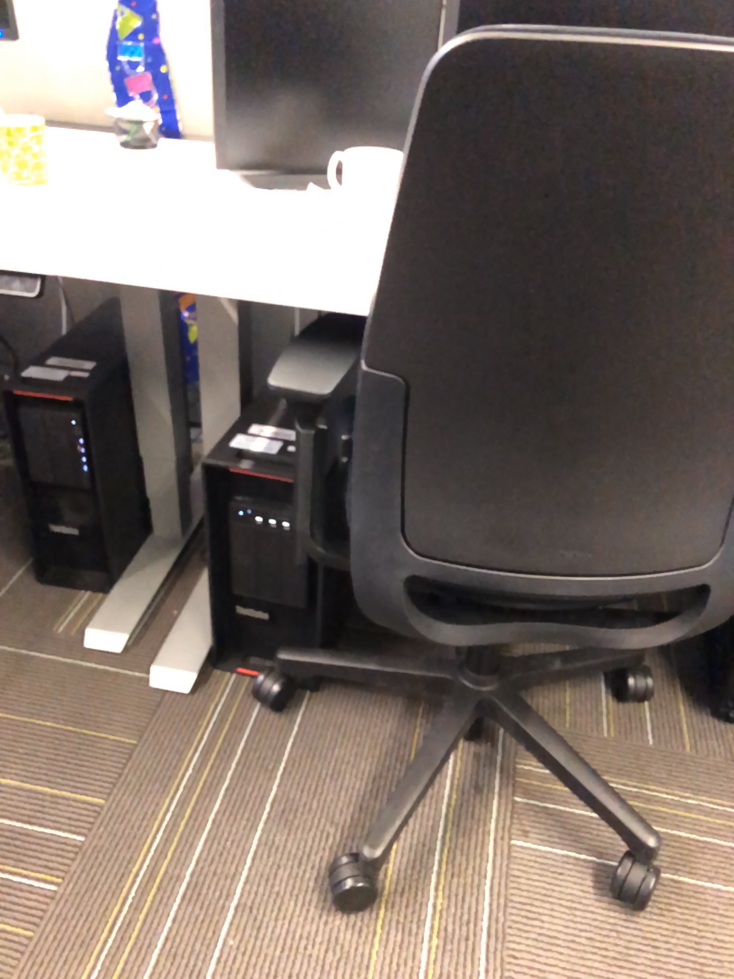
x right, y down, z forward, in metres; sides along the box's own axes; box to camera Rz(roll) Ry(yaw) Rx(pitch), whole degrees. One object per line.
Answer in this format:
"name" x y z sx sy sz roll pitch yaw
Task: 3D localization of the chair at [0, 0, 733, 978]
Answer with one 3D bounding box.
"chair" 0.152 -0.003 0.965 0.780 1.014 0.664 9 33 8
